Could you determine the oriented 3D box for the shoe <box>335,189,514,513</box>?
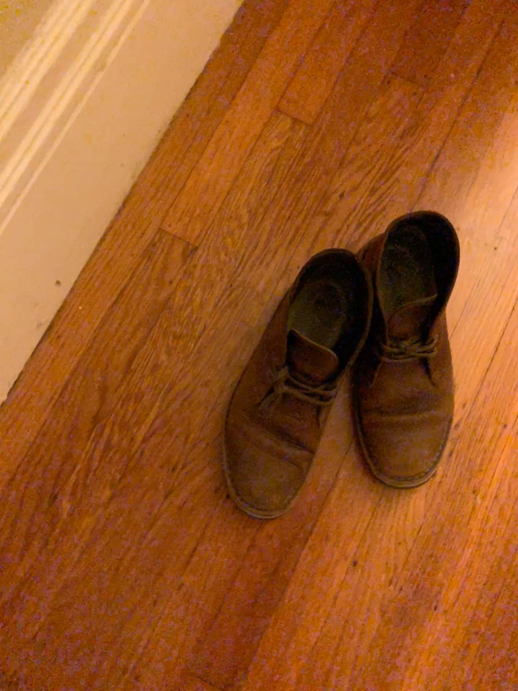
[{"bbox_3d":[0.156,0.007,0.546,0.120,0.120,0.300,-2,79,-1],"label":"shoe"}]

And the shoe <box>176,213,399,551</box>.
[{"bbox_3d":[0.030,0.035,0.547,0.120,0.120,0.290,19,79,3],"label":"shoe"}]
